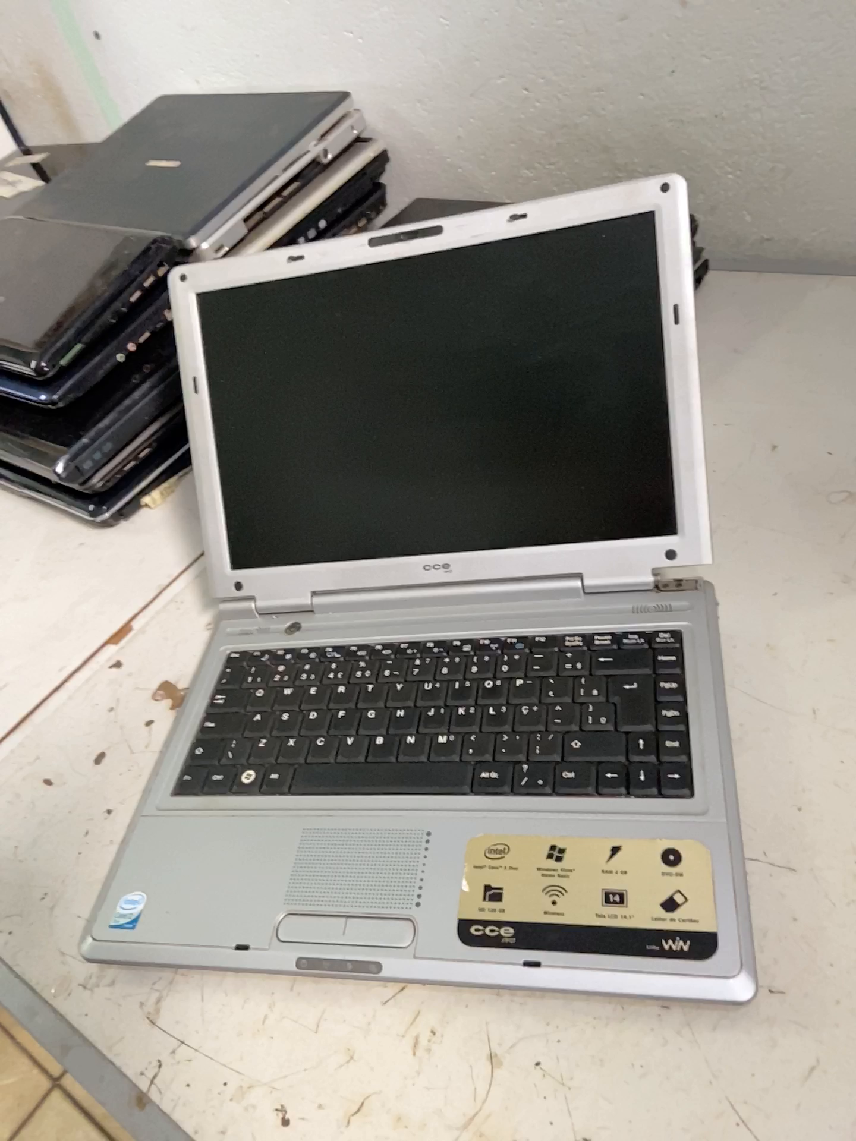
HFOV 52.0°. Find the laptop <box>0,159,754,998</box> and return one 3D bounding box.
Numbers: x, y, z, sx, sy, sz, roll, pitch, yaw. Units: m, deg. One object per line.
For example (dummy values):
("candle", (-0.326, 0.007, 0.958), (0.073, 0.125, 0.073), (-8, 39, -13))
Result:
("laptop", (-0.019, -0.015, 0.487), (0.338, 0.190, 0.389), (-5, 46, 17))
